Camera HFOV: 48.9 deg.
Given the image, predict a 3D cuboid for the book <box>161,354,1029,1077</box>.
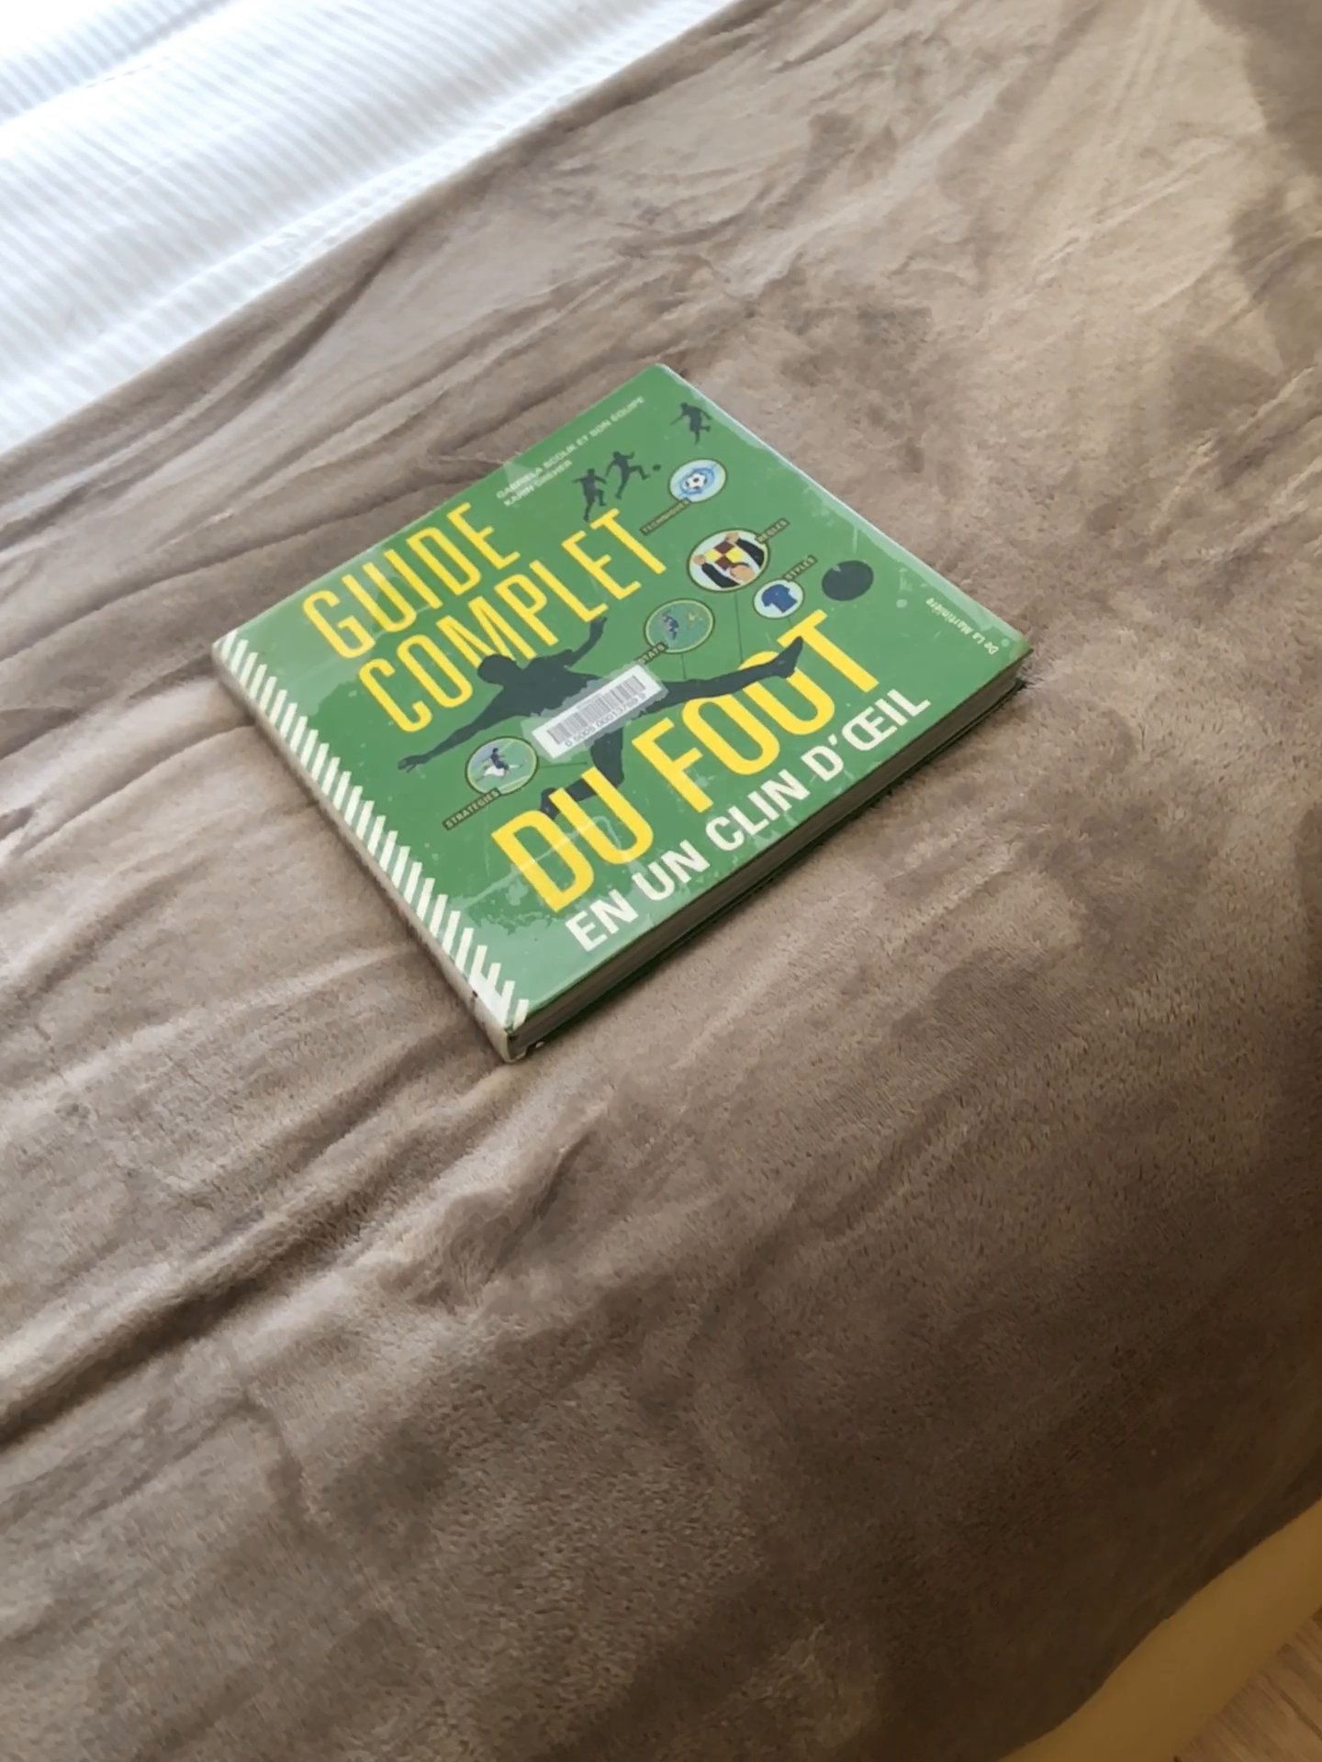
[{"bbox_3d":[-0.034,-0.081,0.537,0.228,0.018,0.239,-35,57,-13],"label":"book"}]
